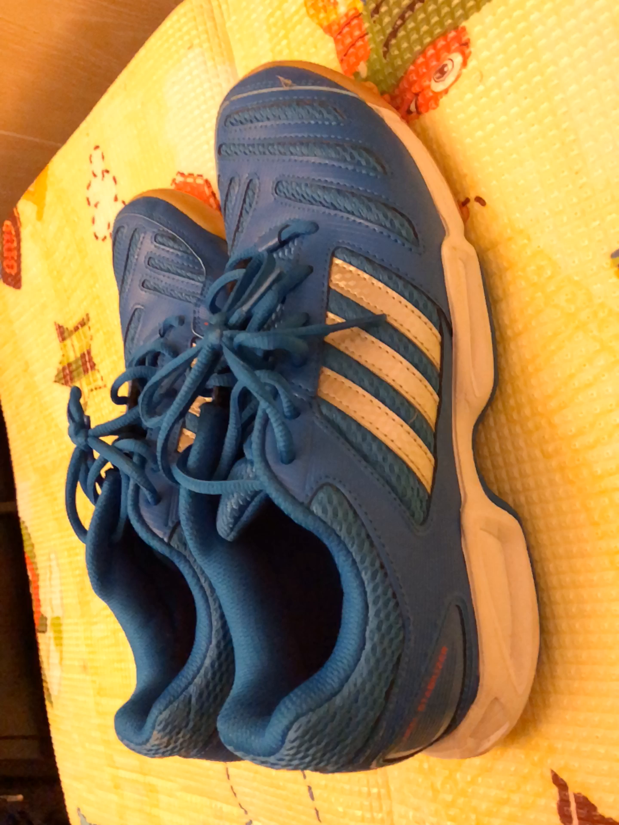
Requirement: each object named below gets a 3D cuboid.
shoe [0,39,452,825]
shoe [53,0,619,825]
[{"bbox_3d":[-0.056,0.007,0.324,0.111,0.139,0.290,-24,75,46],"label":"shoe"},{"bbox_3d":[0.007,-0.013,0.254,0.111,0.119,0.290,-23,75,46],"label":"shoe"}]
